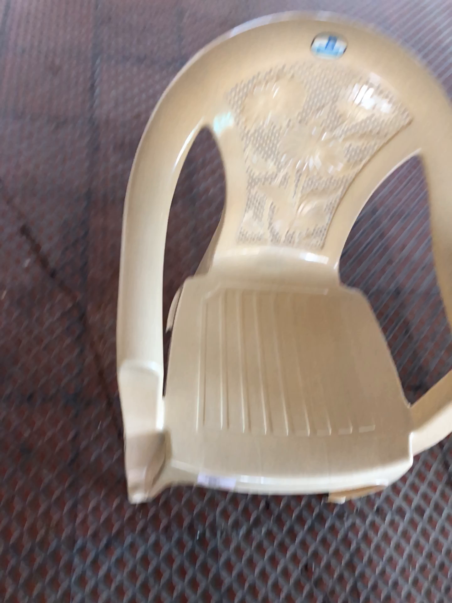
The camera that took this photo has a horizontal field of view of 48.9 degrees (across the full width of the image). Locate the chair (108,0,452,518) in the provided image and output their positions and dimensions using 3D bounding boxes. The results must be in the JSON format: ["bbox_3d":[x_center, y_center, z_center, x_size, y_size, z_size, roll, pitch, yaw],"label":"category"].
[{"bbox_3d":[0.093,0.024,0.913,0.531,0.806,0.613,4,61,-10],"label":"chair"}]
